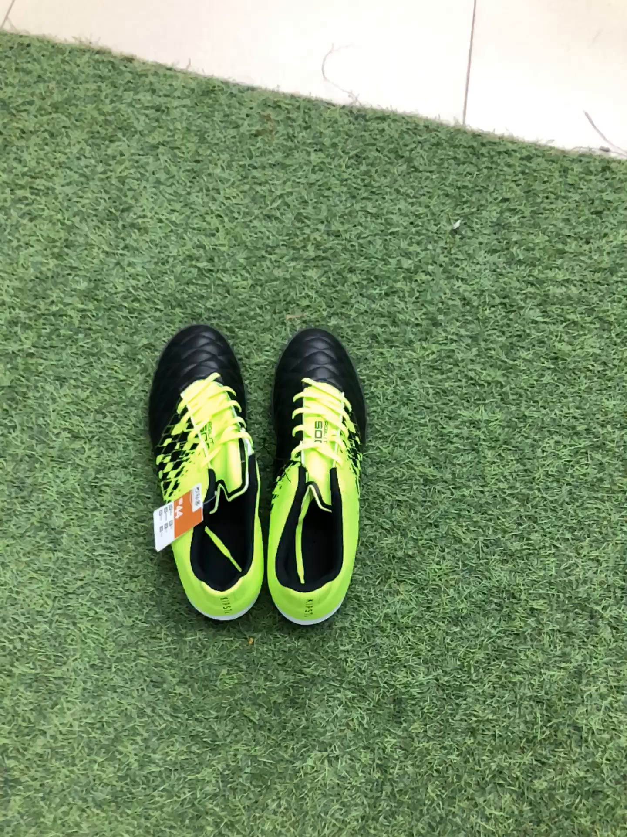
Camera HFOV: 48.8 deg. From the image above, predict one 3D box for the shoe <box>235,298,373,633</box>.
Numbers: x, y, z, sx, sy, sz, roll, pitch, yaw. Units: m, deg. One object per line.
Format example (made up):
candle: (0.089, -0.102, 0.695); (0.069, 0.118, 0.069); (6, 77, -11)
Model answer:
shoe: (-0.006, 0.041, 0.622); (0.100, 0.090, 0.281); (4, 69, -3)

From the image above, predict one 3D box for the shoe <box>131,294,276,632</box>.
shoe: (-0.099, 0.038, 0.621); (0.100, 0.090, 0.281); (-5, 70, -6)
